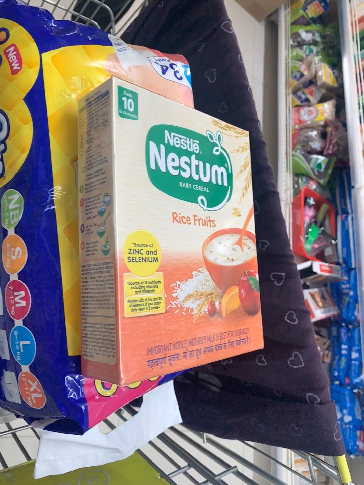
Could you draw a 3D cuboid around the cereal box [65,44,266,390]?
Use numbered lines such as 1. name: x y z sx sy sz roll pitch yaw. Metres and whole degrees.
1. cereal box: -0.005 -0.014 0.299 0.161 0.050 0.210 3 82 -43
